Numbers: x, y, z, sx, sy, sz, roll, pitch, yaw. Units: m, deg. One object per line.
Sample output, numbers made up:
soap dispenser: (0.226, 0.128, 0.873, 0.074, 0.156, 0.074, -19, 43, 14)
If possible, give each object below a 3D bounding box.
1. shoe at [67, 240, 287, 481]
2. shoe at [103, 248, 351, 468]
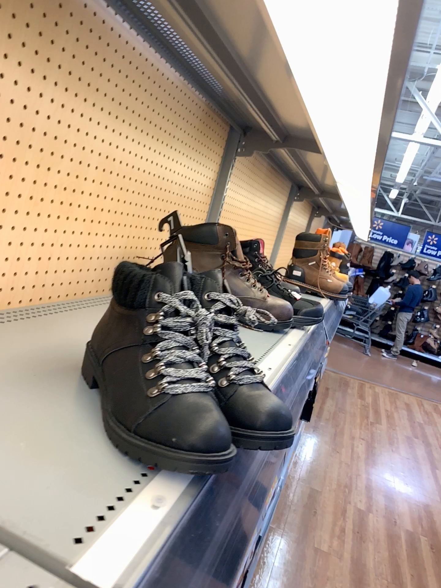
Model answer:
shoe: (-0.063, 0.046, 0.444, 0.104, 0.137, 0.236, 11, 11, -30)
shoe: (-0.005, 0.051, 0.493, 0.231, 0.137, 0.105, 24, 12, 40)
